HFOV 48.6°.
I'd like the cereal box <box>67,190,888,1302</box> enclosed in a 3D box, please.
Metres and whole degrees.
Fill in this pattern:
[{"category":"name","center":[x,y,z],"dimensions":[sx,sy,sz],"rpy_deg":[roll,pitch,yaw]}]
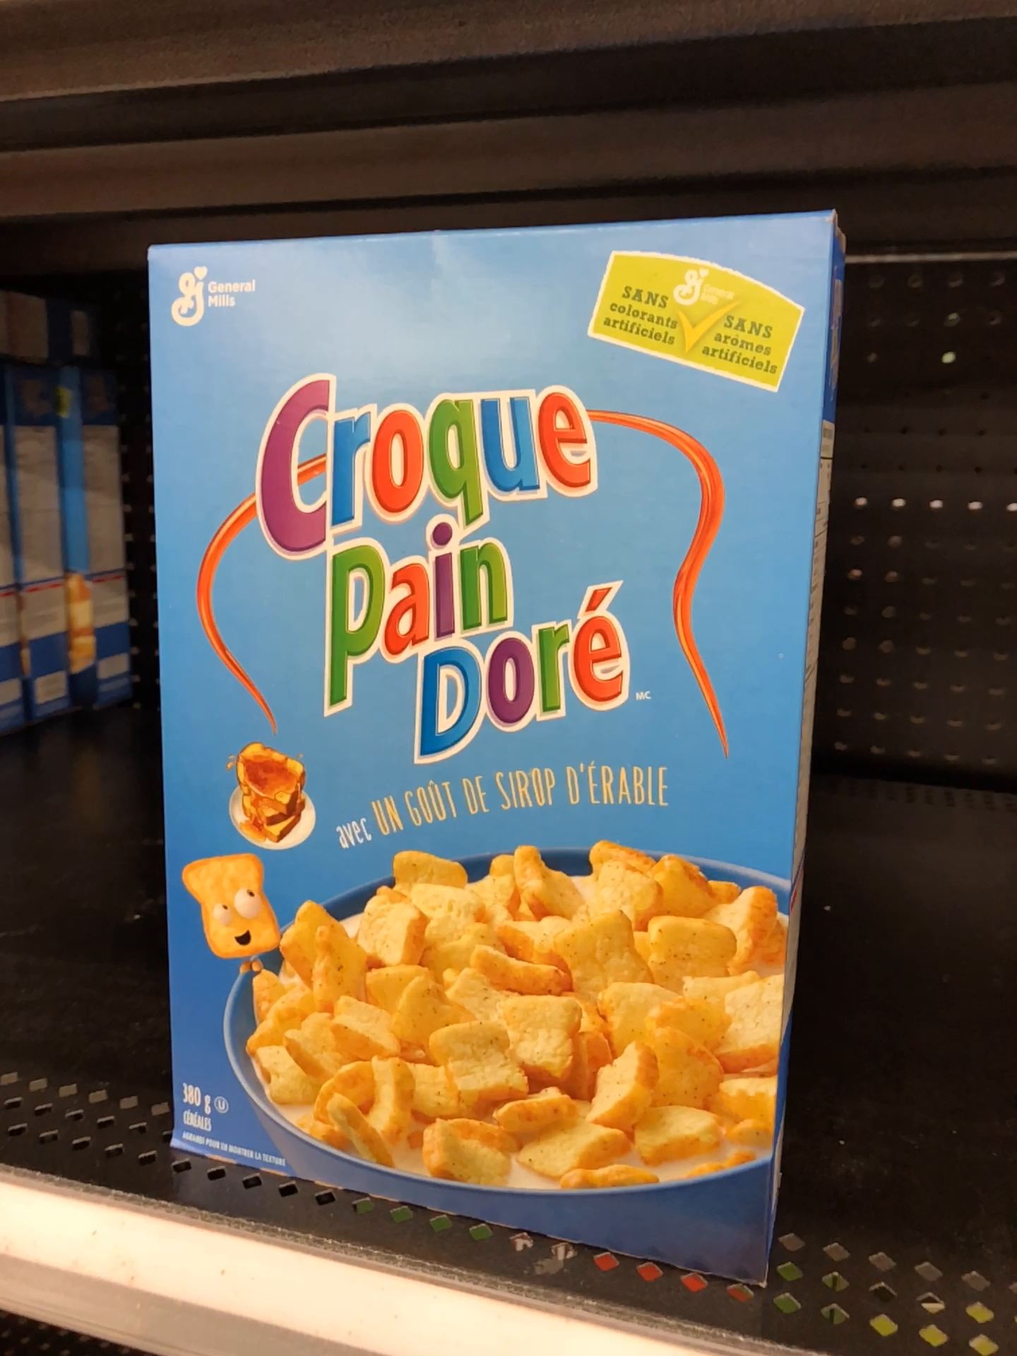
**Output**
[{"category":"cereal box","center":[-0.012,0.015,0.325],"dimensions":[0.210,0.269,0.060],"rpy_deg":[4,12,18]}]
